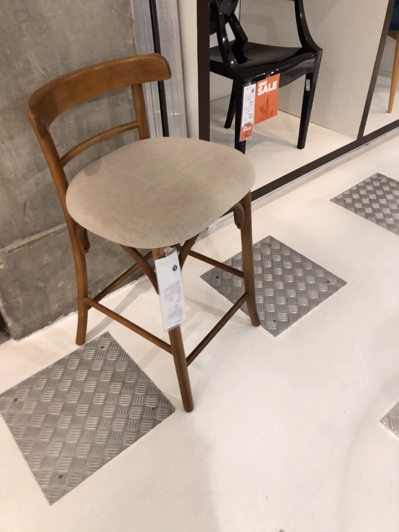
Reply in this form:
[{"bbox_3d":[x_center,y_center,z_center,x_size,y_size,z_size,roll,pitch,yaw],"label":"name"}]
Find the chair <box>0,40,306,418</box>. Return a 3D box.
[{"bbox_3d":[-0.085,-0.099,1.204,0.481,0.794,0.483,24,47,26],"label":"chair"}]
